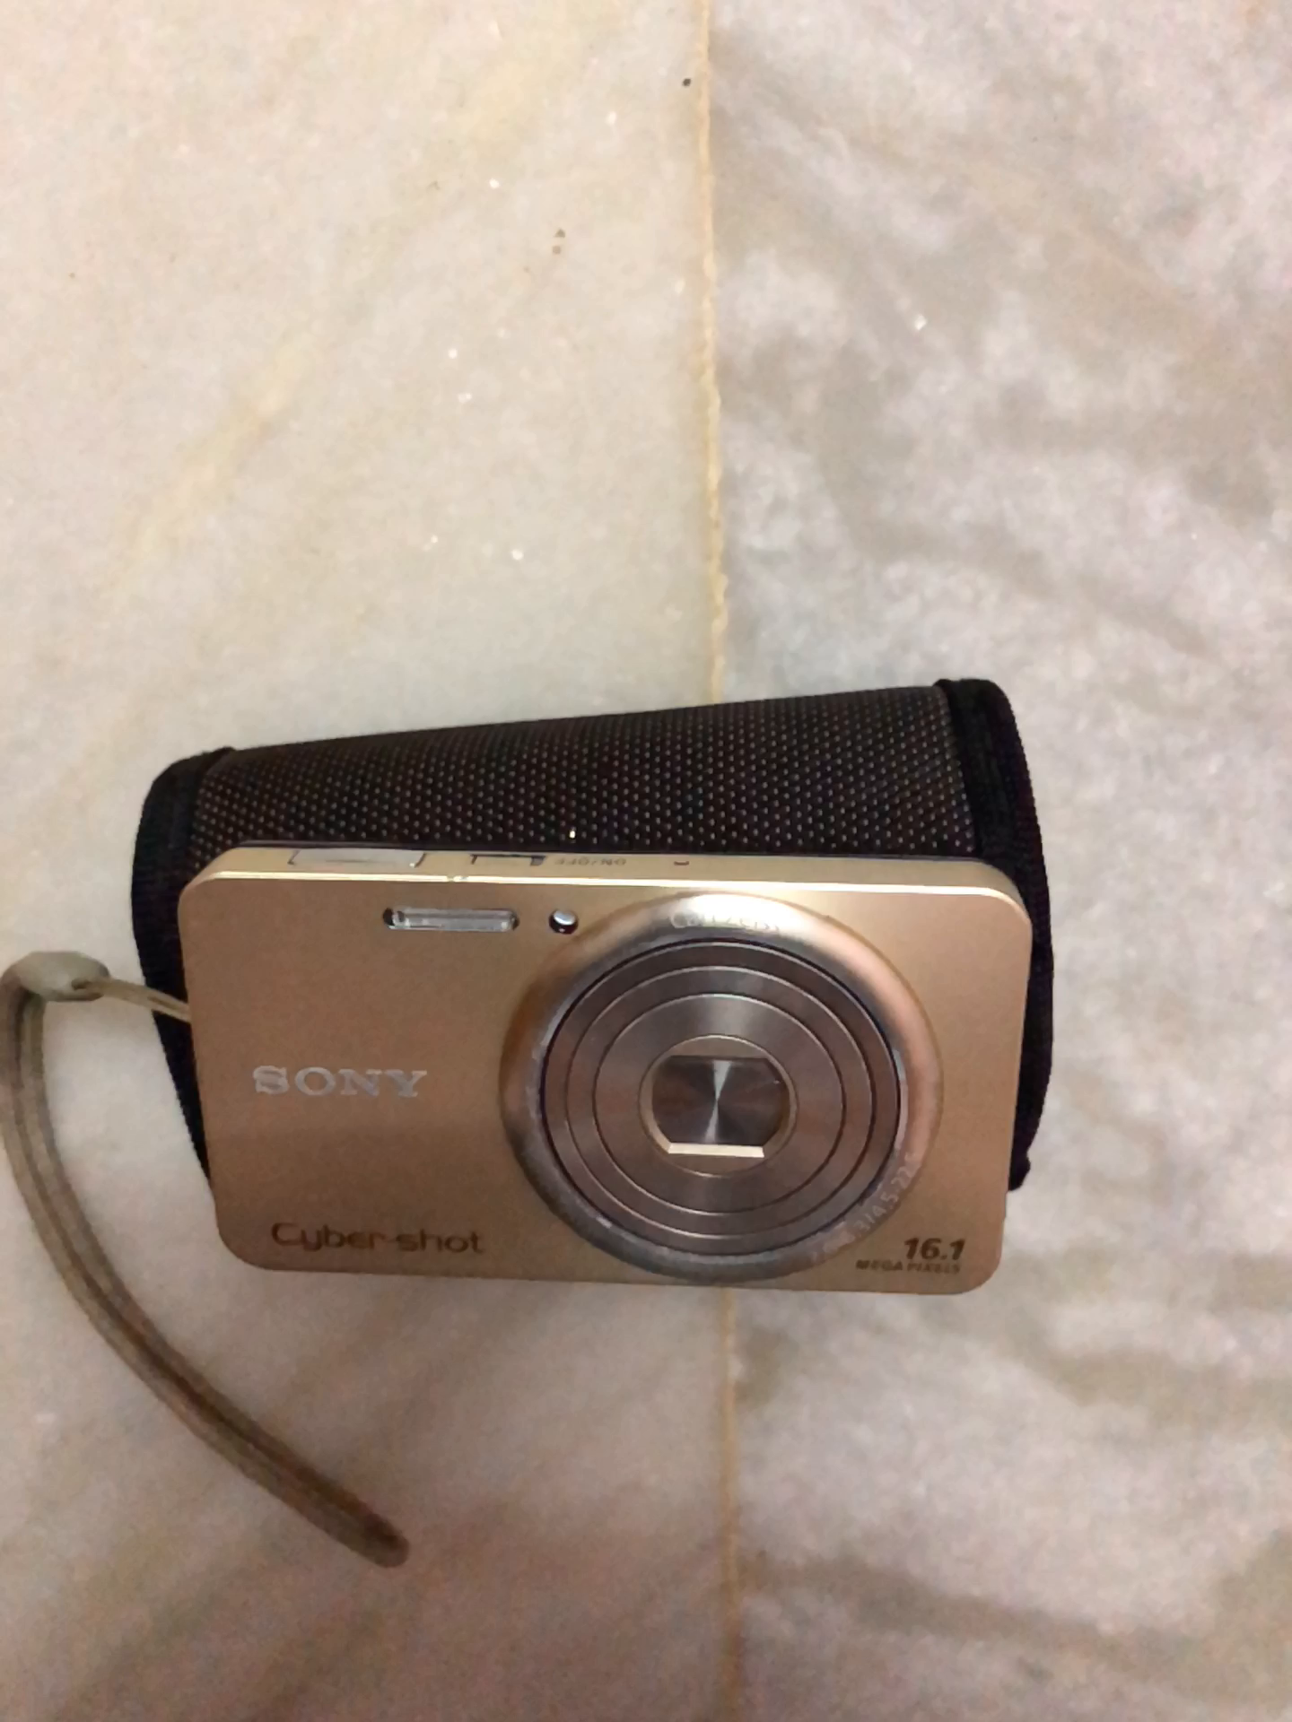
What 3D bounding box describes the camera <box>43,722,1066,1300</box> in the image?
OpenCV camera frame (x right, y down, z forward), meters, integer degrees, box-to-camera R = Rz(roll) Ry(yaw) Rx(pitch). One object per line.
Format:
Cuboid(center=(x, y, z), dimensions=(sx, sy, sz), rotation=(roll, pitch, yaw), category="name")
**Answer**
Cuboid(center=(-0.009, 0.017, 0.161), dimensions=(0.100, 0.020, 0.060), rotation=(0, 108, 2), category="camera")
